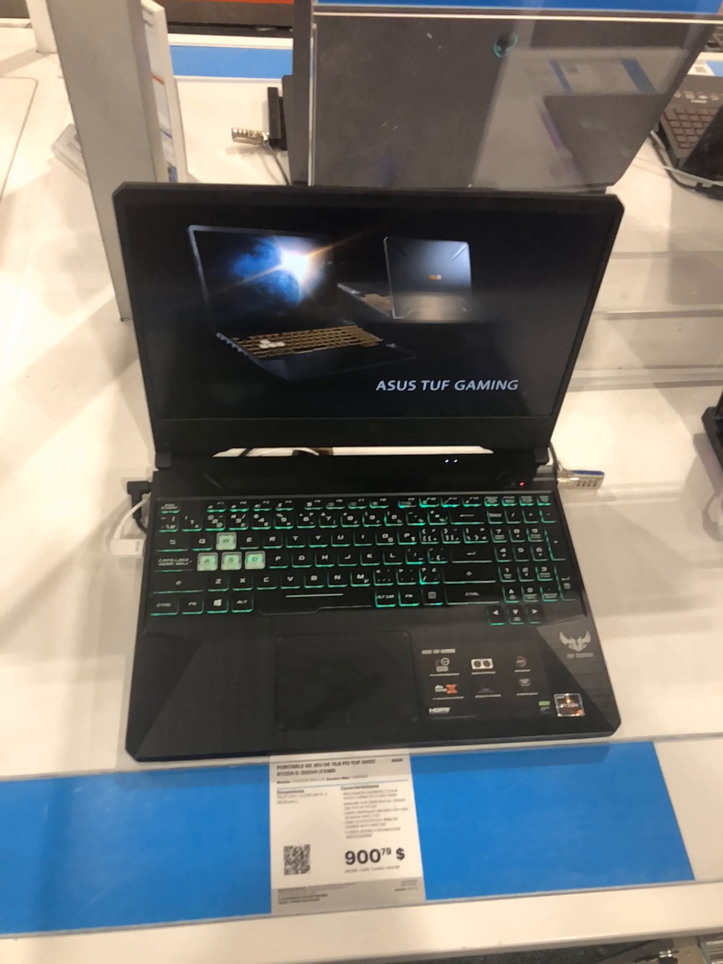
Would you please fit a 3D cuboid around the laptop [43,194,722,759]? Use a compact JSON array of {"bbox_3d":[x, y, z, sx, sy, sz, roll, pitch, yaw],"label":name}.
[{"bbox_3d":[0.014,-0.007,0.561,0.350,0.235,0.302,-1,54,-6],"label":"laptop"}]
